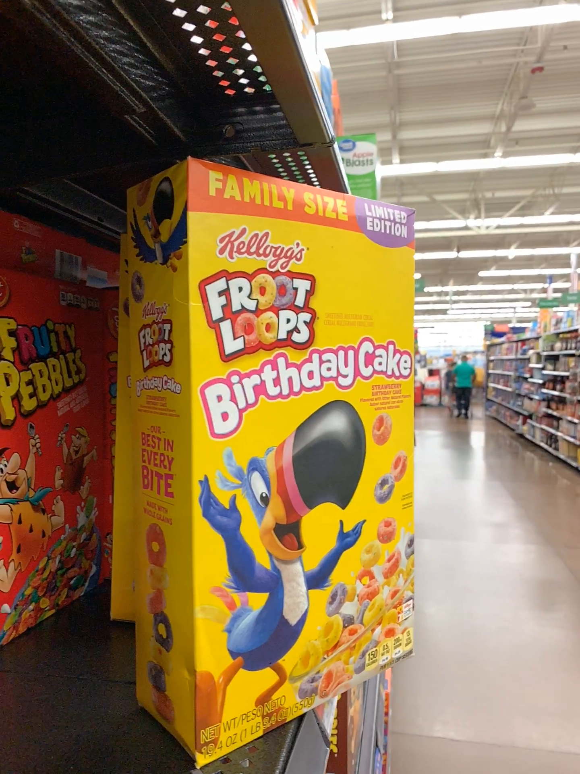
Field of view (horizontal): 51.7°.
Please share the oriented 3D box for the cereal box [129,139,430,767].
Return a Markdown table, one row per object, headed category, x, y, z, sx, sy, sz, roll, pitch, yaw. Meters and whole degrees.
| category | x | y | z | sx | sy | sz | roll | pitch | yaw |
| --- | --- | --- | --- | --- | --- | --- | --- | --- | --- |
| cereal box | 0.002 | 0.033 | 0.410 | 0.200 | 0.330 | 0.080 | -1 | 1 | -41 |
